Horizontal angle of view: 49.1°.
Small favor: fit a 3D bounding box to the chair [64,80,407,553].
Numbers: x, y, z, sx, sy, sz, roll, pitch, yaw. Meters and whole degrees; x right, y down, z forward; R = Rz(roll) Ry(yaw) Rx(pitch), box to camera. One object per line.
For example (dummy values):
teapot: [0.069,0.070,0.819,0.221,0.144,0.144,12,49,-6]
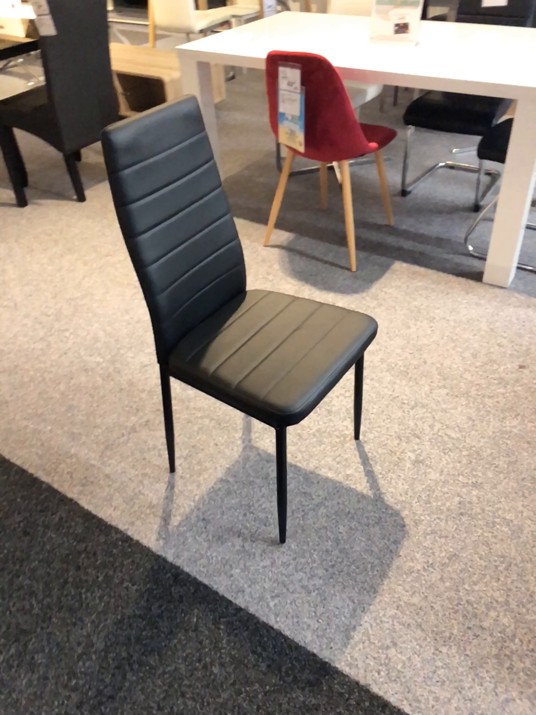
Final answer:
chair: [-0.030,-0.086,1.418,0.470,0.934,0.473,22,45,29]
